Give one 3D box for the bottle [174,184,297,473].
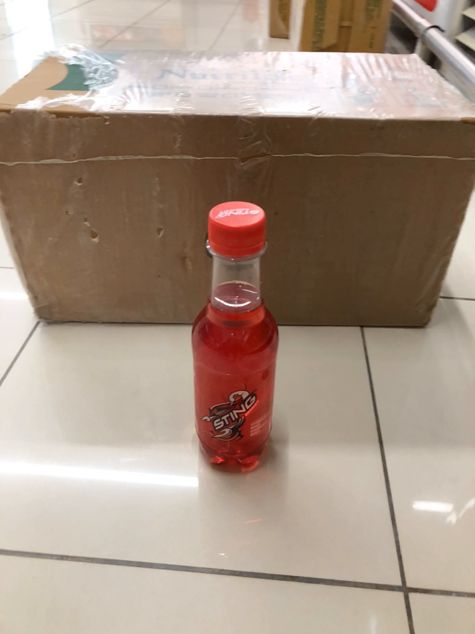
[{"bbox_3d":[0.000,0.015,0.331,0.060,0.179,0.060,1,36,0],"label":"bottle"}]
